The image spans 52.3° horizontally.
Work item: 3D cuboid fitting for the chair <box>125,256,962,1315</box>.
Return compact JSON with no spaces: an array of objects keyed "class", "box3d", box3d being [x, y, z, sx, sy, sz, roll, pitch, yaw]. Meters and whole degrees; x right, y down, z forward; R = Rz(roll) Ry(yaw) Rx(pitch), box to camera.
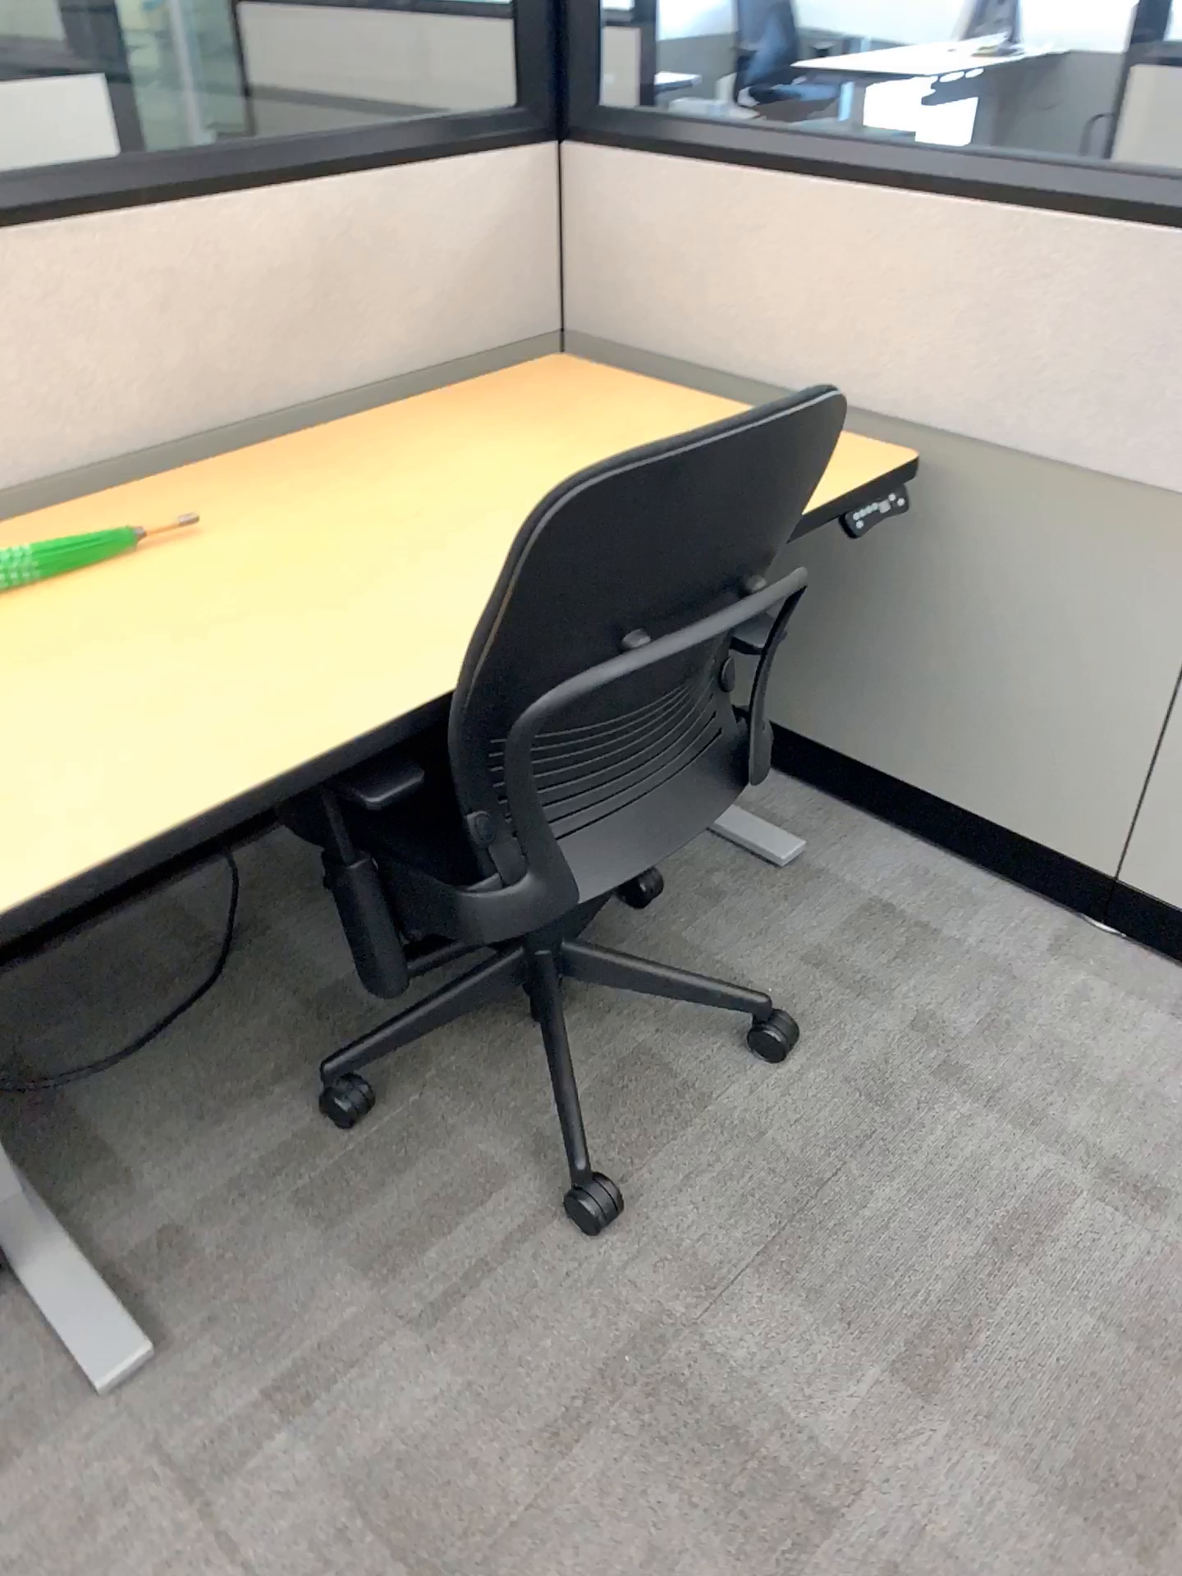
[{"class":"chair","box3d":[-0.020,-0.027,1.481,0.512,0.994,0.671,26,44,32]}]
